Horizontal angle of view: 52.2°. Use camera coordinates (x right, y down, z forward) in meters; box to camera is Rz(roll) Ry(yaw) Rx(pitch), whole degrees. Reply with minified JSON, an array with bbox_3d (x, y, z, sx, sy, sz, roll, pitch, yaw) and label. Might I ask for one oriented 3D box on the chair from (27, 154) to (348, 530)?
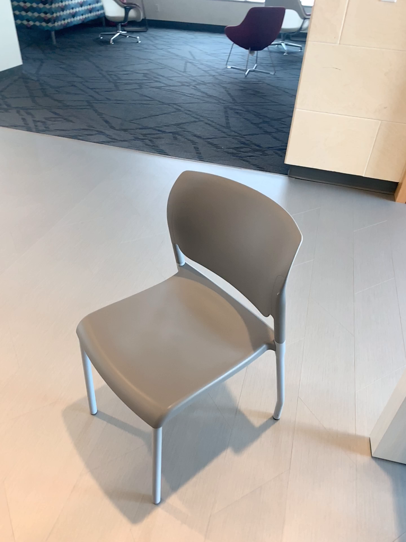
[{"bbox_3d":[-0.051,0.179,1.219,0.572,0.783,0.502,-27,47,-33],"label":"chair"}]
